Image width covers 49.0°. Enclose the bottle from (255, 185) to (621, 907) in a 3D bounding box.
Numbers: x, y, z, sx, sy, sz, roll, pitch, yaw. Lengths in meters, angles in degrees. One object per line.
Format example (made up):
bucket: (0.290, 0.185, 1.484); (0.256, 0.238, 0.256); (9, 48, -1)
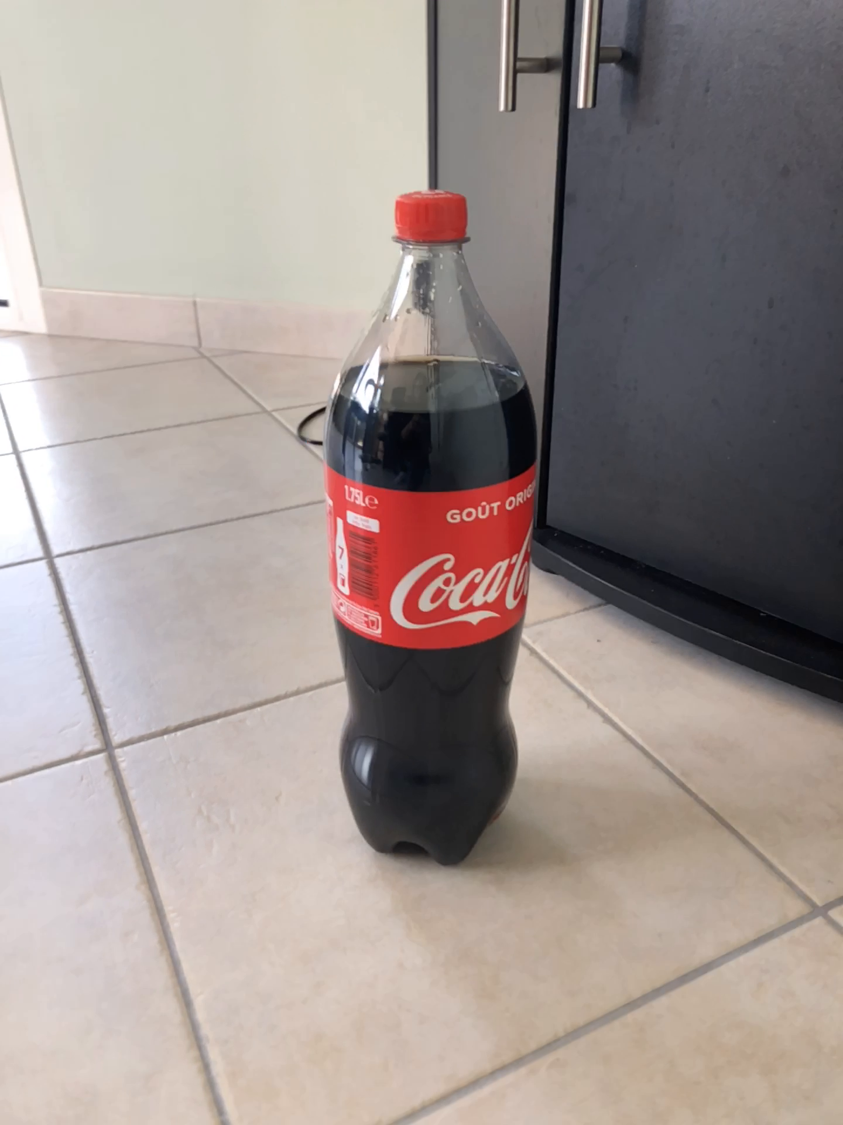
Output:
bottle: (0.005, -0.005, 0.437); (0.110, 0.308, 0.100); (-15, 31, -25)
